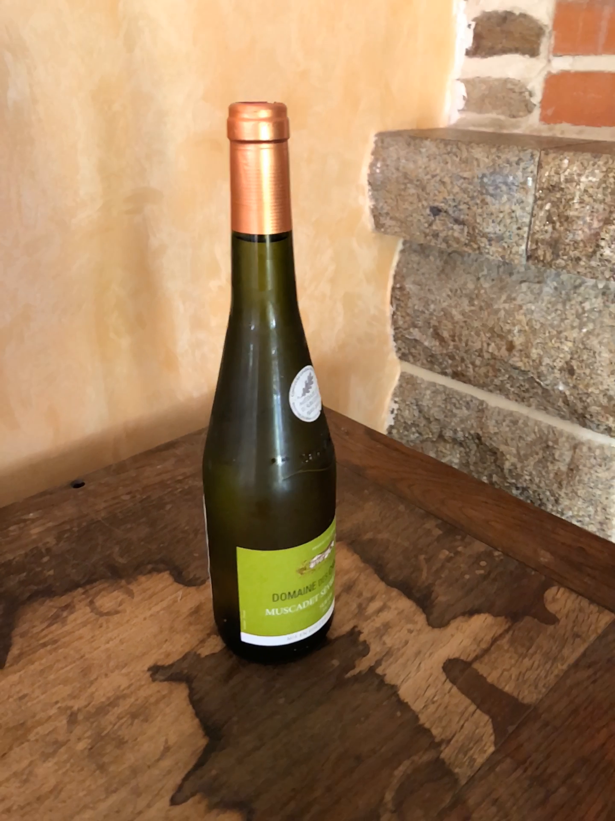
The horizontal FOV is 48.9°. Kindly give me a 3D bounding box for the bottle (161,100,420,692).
[{"bbox_3d":[-0.008,-0.003,0.379,0.080,0.308,0.091,20,32,35],"label":"bottle"}]
